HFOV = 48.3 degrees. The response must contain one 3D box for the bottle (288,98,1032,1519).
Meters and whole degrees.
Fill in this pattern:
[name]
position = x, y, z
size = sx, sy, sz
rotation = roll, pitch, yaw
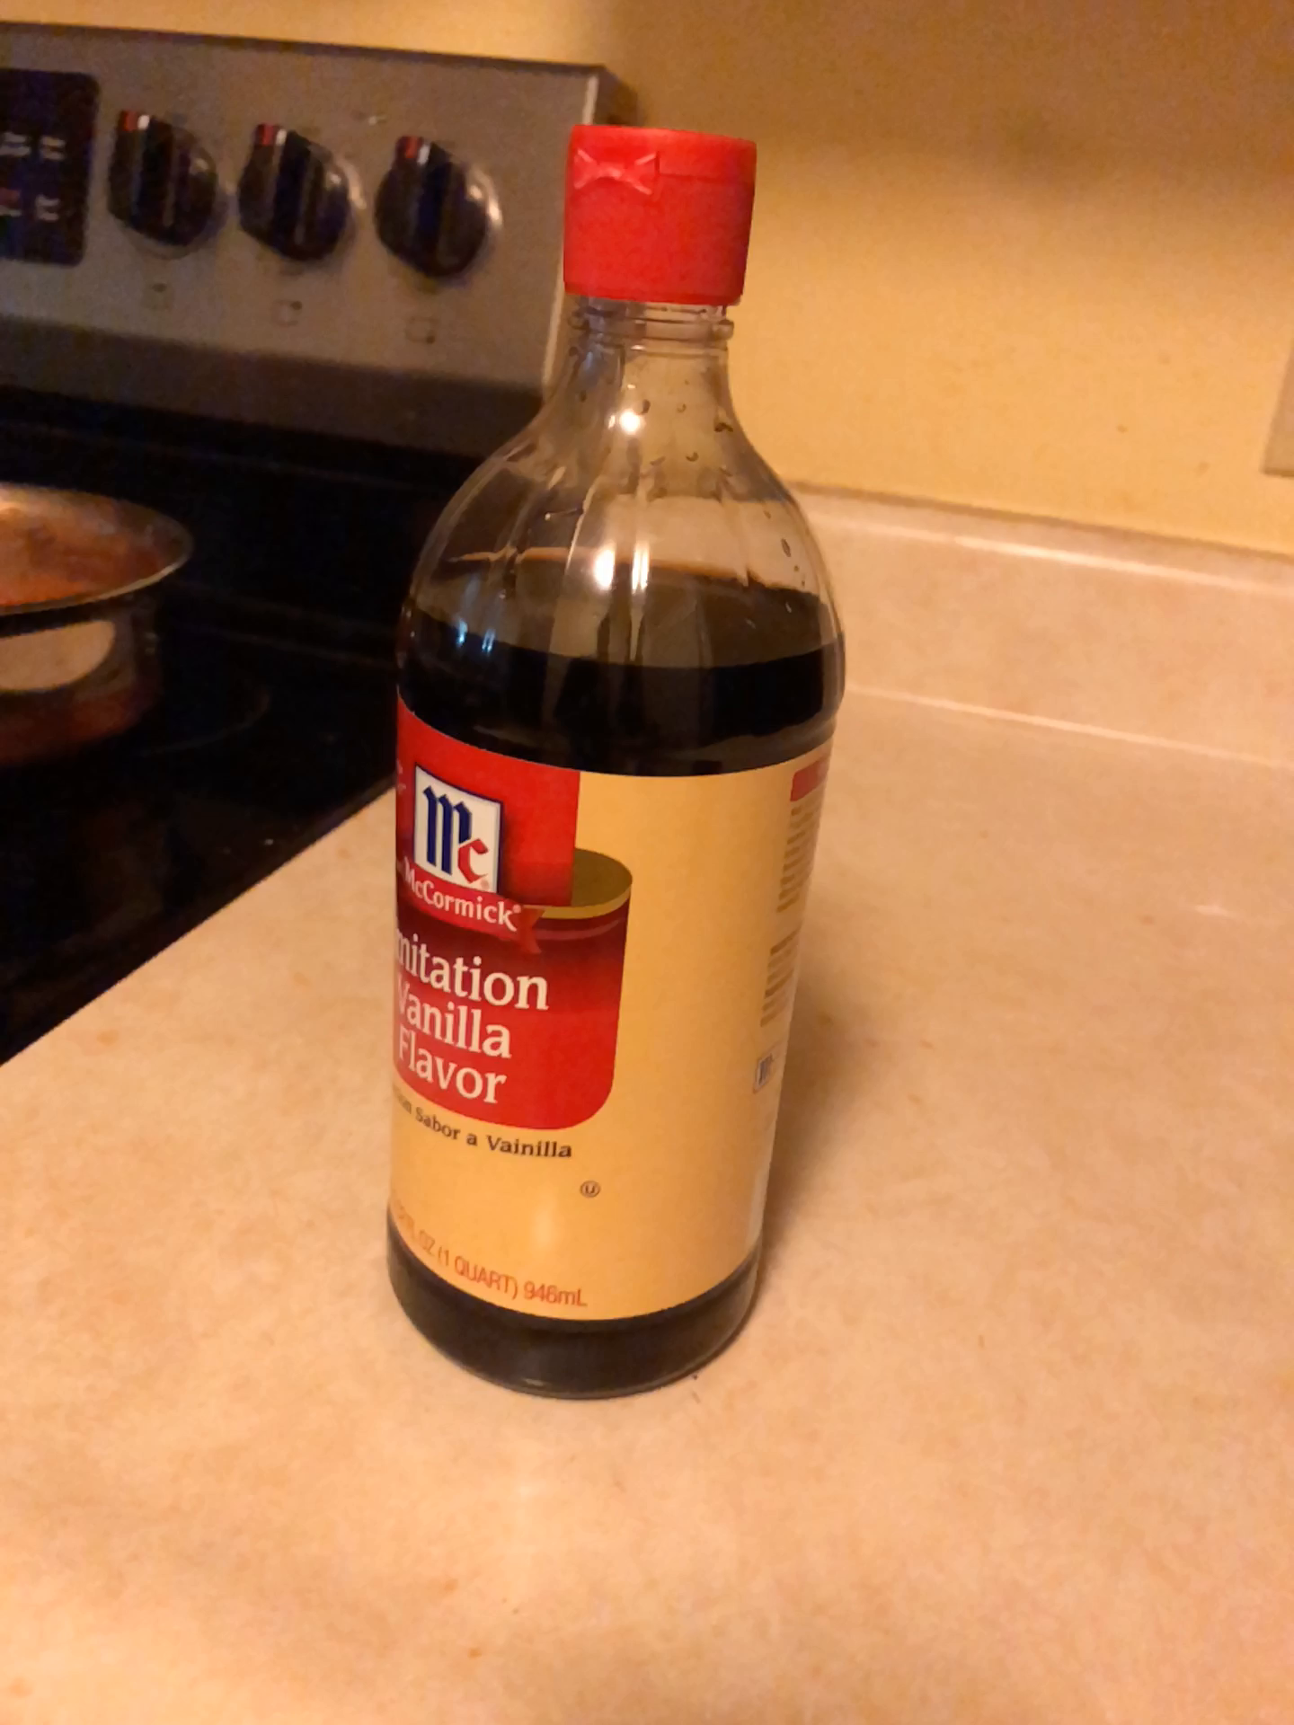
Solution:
[bottle]
position = -0.007, -0.009, 0.282
size = 0.090, 0.239, 0.080
rotation = 23, 30, 34
